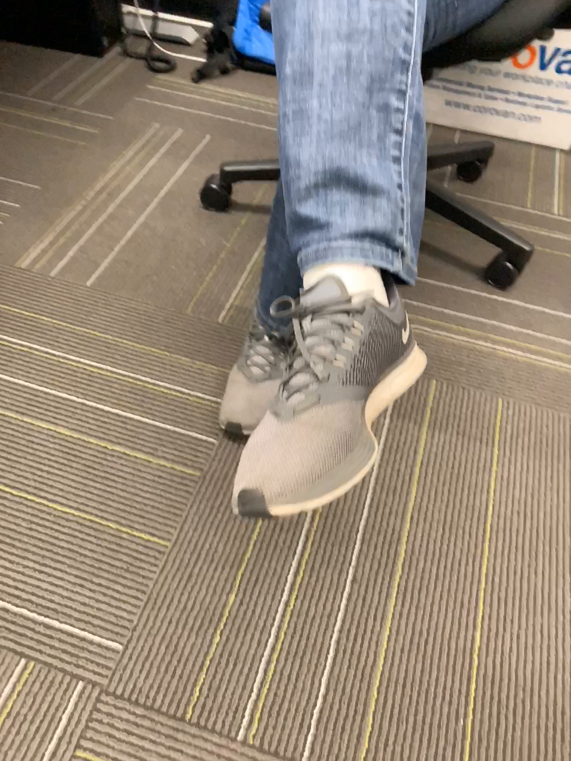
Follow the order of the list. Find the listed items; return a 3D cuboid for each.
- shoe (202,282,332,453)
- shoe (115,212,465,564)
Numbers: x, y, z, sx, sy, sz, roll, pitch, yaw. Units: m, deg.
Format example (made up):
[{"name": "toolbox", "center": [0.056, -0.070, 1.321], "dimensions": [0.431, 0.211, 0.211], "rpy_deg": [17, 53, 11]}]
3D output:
[{"name": "shoe", "center": [-0.024, -0.030, 0.953], "dimensions": [0.120, 0.085, 0.270], "rpy_deg": [17, 51, 9]}, {"name": "shoe", "center": [0.028, -0.008, 0.508], "dimensions": [0.122, 0.142, 0.296], "rpy_deg": [-11, 26, 42]}]
